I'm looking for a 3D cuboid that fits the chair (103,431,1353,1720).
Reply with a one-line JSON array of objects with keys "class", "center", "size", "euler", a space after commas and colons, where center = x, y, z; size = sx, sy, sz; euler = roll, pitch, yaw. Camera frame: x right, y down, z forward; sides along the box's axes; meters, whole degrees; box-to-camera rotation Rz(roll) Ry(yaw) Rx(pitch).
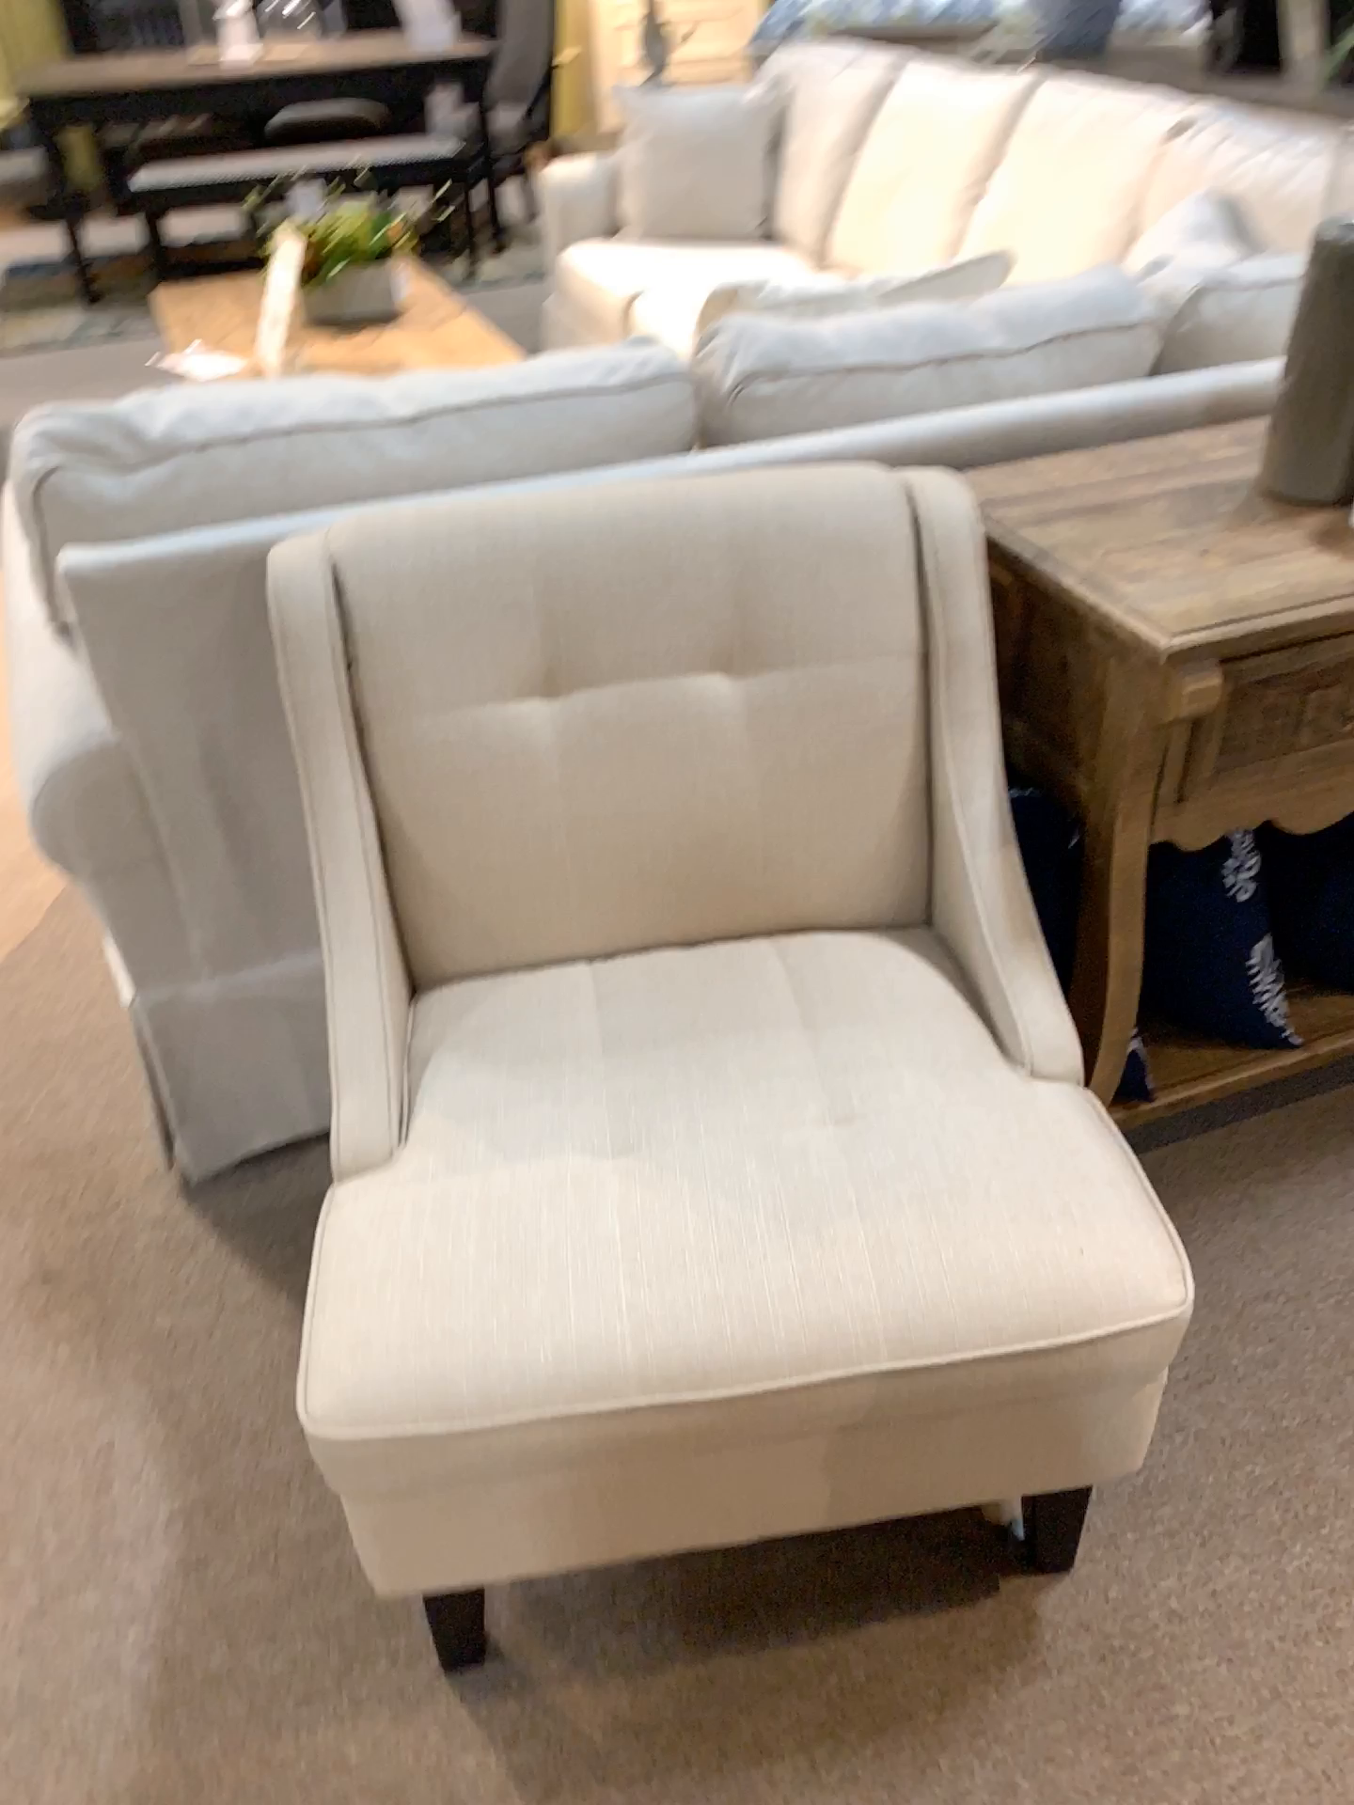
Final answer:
[{"class": "chair", "center": [0.021, 0.117, 1.285], "size": [0.713, 0.800, 0.774], "euler": [-7, 37, -5]}]
